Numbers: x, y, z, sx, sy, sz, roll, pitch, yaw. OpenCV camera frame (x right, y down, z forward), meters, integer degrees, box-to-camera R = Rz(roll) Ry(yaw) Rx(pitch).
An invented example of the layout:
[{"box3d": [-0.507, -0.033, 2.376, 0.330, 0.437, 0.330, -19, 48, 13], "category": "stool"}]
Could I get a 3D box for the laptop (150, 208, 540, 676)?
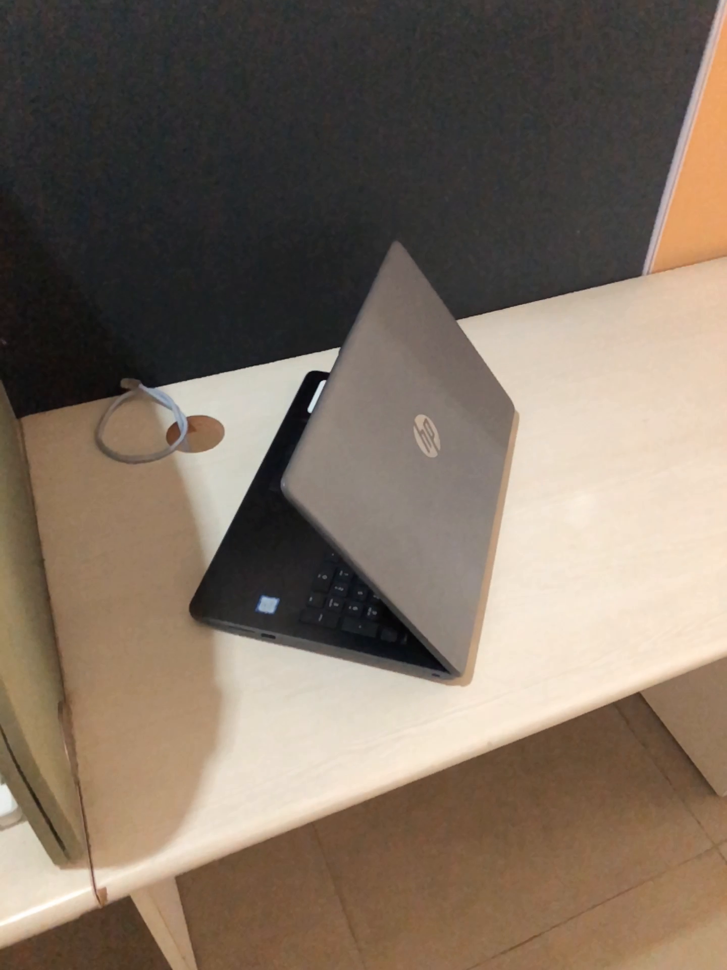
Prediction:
[{"box3d": [0.009, -0.060, 0.753, 0.246, 0.204, 0.363, 11, 47, 8], "category": "laptop"}]
